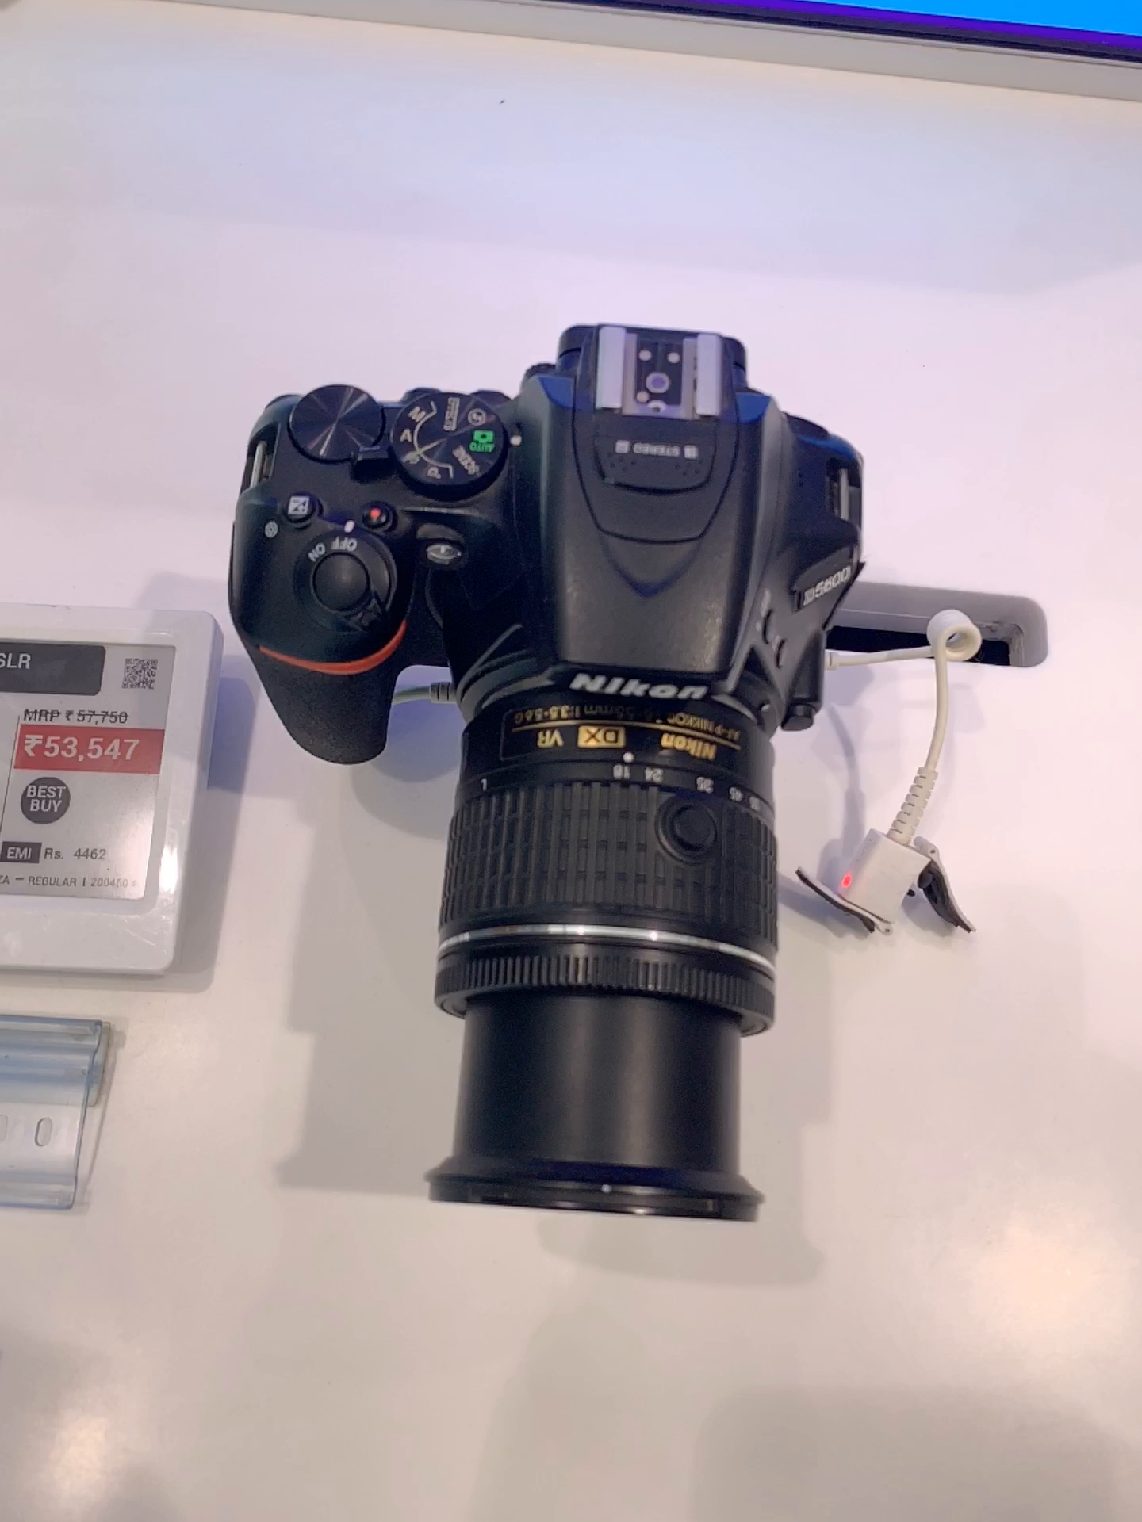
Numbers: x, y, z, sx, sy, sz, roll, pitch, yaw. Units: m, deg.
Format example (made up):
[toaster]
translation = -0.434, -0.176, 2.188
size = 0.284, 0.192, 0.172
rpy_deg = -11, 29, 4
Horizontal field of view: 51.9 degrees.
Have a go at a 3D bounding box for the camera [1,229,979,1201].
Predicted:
[camera]
translation = -0.008, 0.000, 0.212
size = 0.116, 0.100, 0.141
rpy_deg = 3, 68, -1
